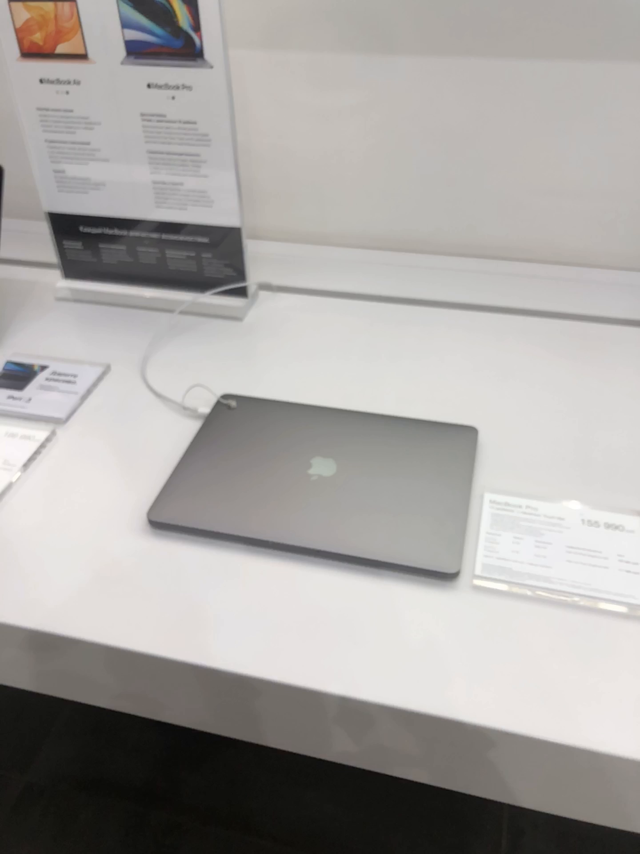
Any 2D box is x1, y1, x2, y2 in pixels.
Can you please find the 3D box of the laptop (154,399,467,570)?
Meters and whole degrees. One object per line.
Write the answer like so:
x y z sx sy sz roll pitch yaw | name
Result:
-0.001 0.046 0.730 0.279 0.001 0.203 7 39 14 | laptop

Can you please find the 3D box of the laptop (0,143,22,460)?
-0.650 -0.180 0.872 0.348 0.190 0.381 7 40 11 | laptop
